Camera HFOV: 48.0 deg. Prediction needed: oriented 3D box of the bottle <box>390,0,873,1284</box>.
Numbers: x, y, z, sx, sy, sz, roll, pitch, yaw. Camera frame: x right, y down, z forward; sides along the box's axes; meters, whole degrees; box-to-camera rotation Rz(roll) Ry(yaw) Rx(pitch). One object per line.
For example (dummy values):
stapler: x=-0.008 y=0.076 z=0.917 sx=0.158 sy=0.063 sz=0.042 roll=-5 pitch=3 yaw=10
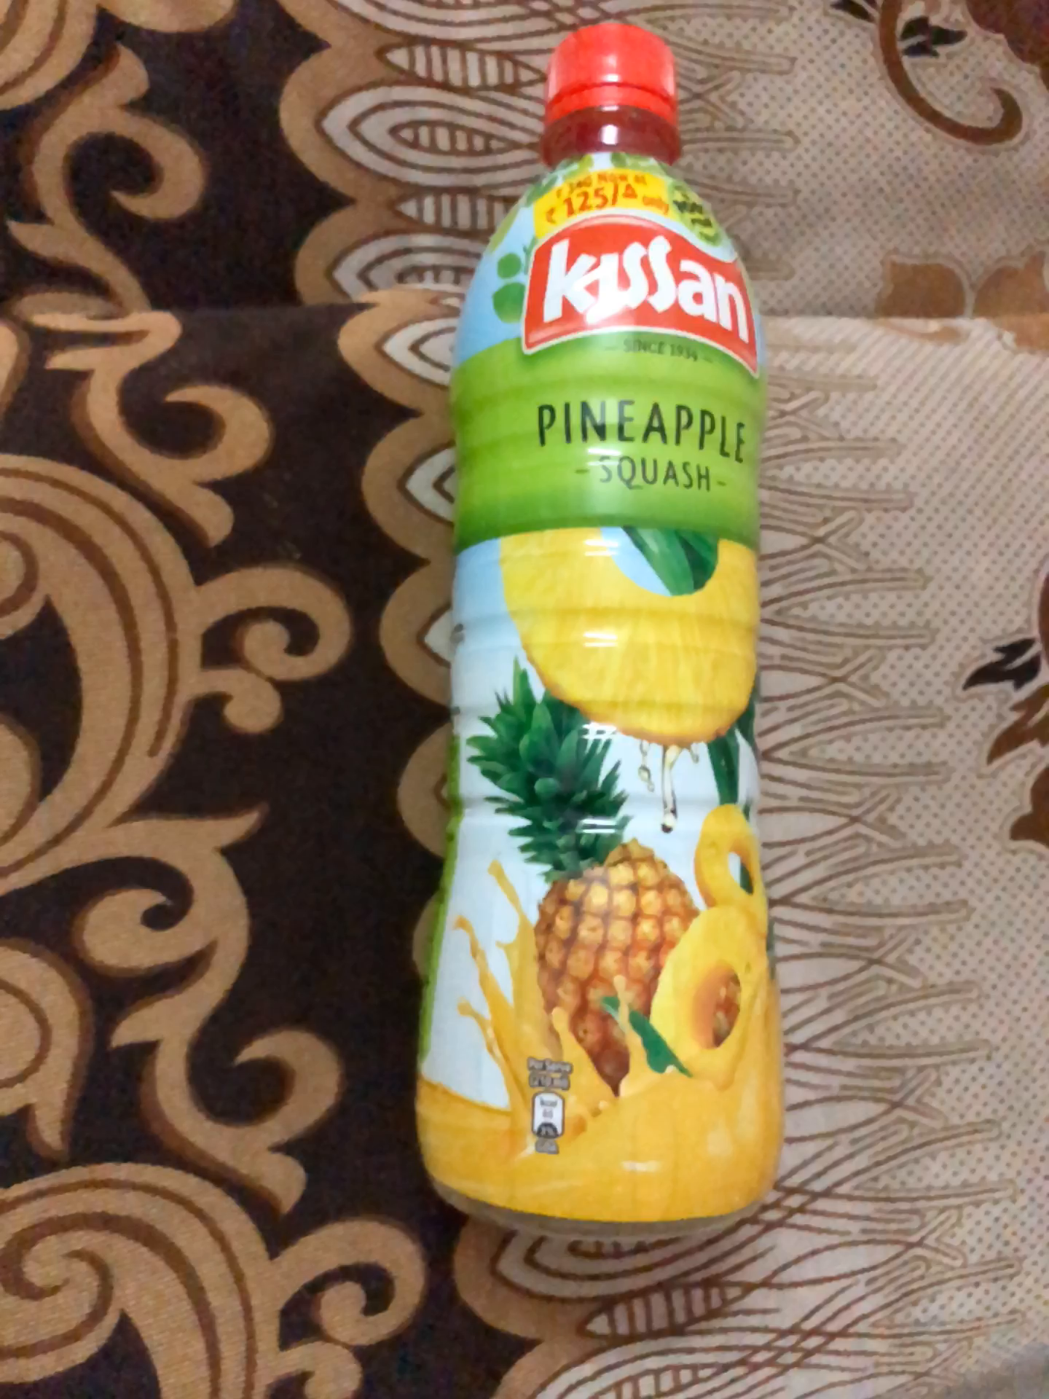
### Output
bottle: x=0.020 y=-0.024 z=0.234 sx=0.070 sy=0.060 sz=0.240 roll=4 pitch=84 yaw=-19
